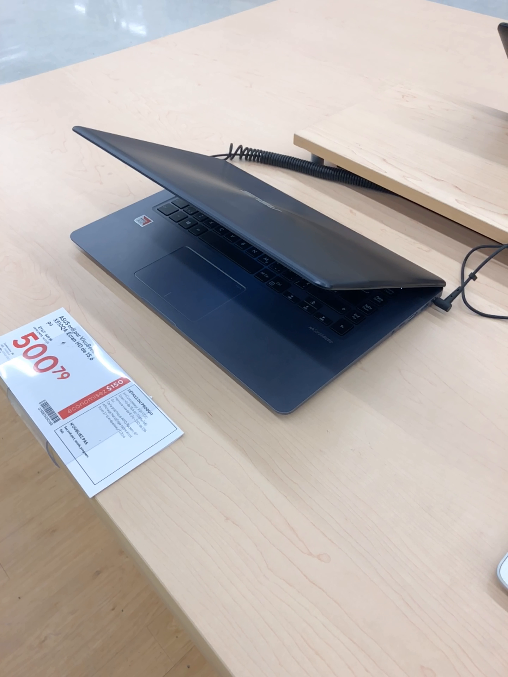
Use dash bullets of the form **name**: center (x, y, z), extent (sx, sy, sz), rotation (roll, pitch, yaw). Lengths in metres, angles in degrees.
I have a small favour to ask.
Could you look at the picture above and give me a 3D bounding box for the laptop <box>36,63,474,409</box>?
- **laptop**: center (-0.010, -0.134, 0.574), extent (0.232, 0.136, 0.345), rotation (-34, 55, -28)
